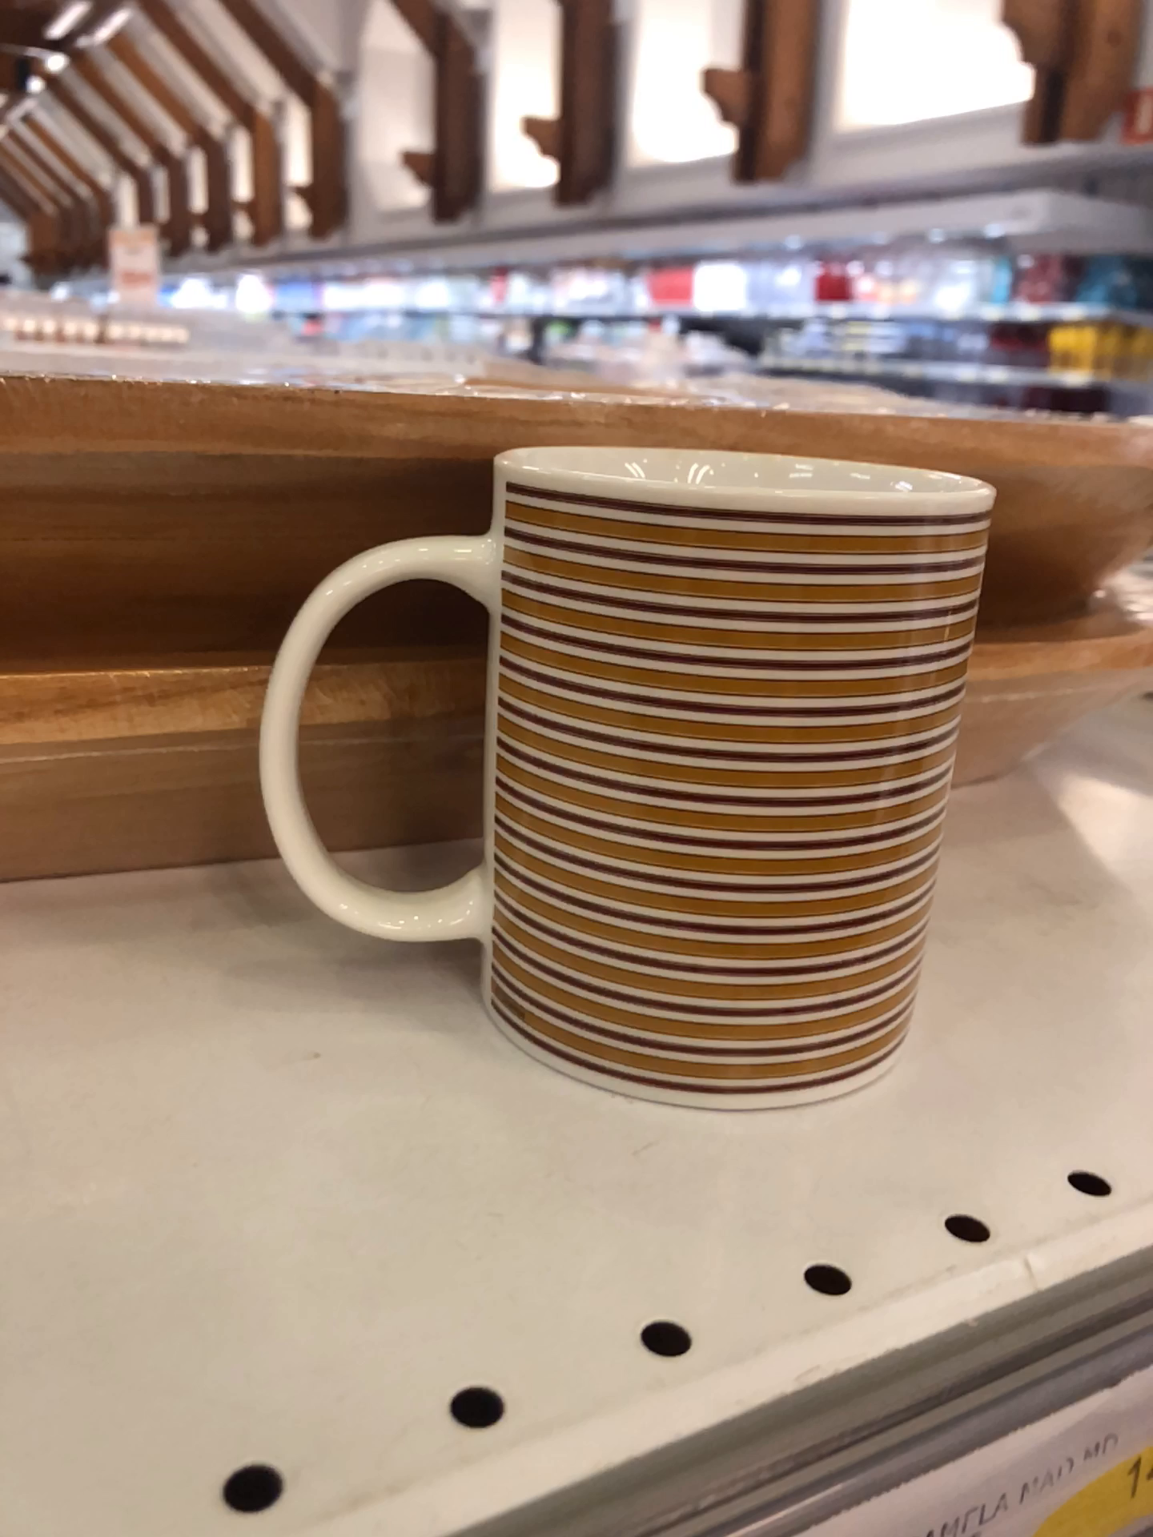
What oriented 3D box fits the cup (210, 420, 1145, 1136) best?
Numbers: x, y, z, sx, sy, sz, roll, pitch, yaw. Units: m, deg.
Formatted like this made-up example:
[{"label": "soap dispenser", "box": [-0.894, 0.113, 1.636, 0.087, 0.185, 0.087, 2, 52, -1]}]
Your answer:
[{"label": "cup", "box": [0.013, -0.008, 0.222, 0.120, 0.090, 0.090, 5, 17, 4]}]
